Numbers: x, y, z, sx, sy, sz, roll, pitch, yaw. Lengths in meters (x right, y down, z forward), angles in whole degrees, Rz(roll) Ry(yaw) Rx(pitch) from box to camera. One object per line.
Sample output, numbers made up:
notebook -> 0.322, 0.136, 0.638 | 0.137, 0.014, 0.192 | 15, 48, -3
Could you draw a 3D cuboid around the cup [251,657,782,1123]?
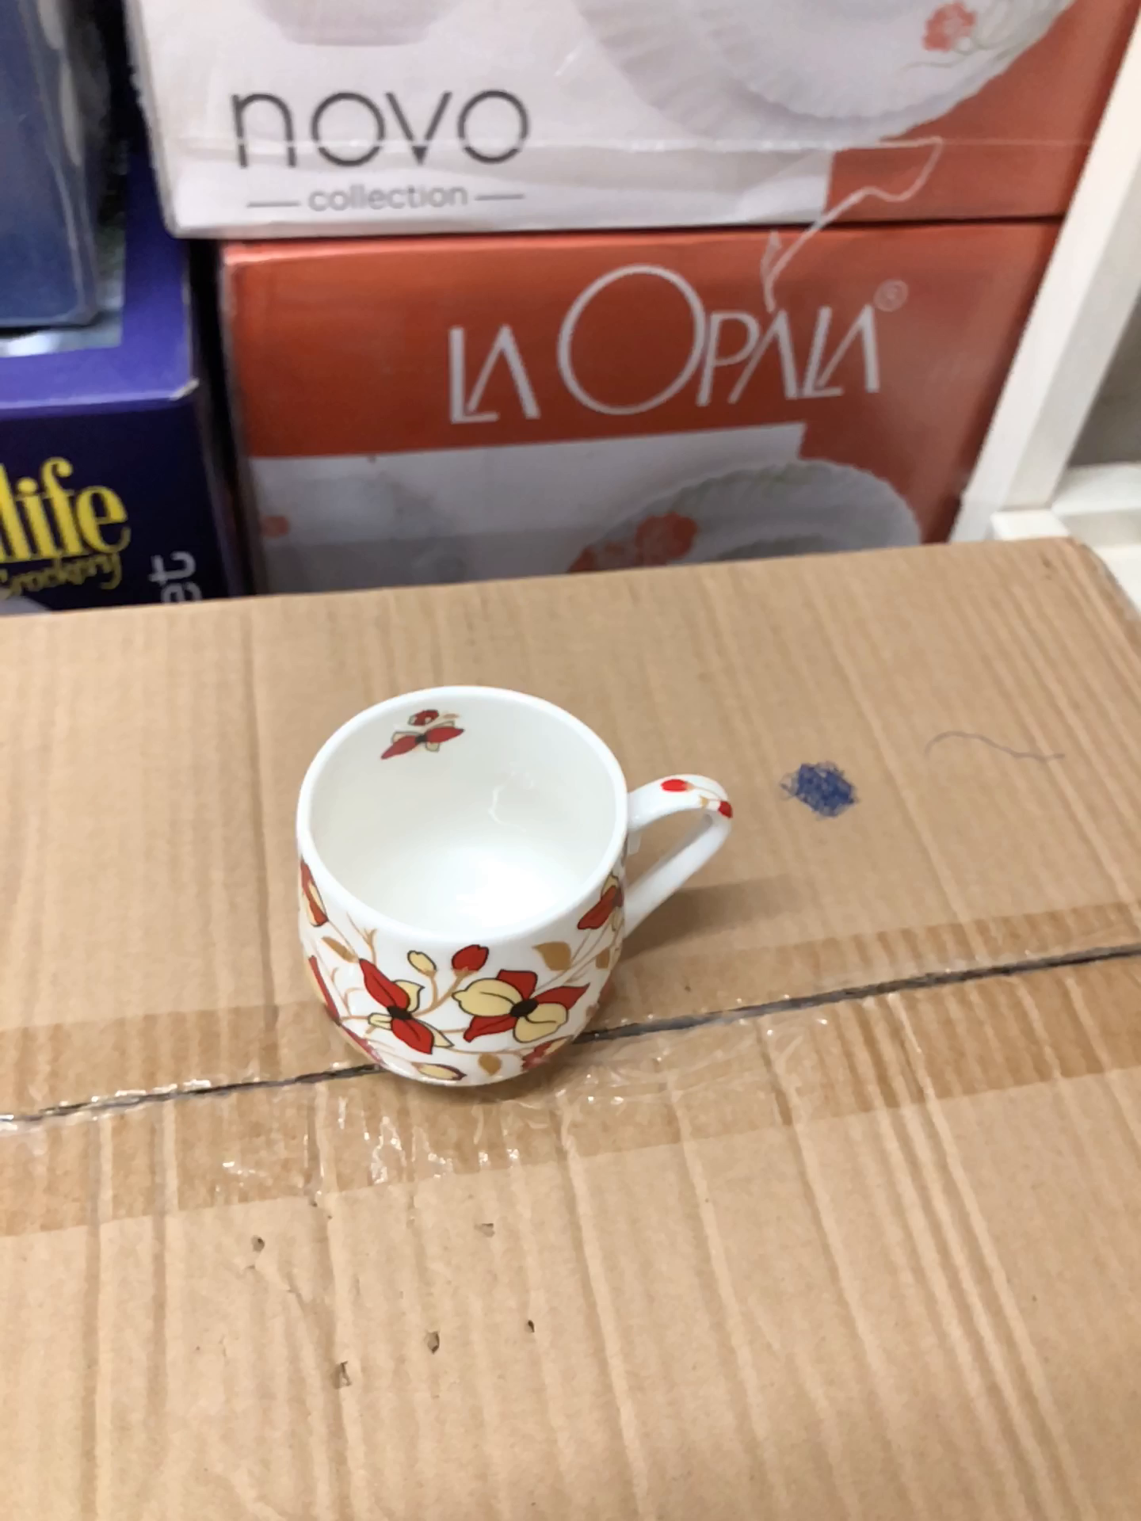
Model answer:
cup -> -0.014, 0.025, 0.261 | 0.090, 0.060, 0.060 | -6, 49, -11
